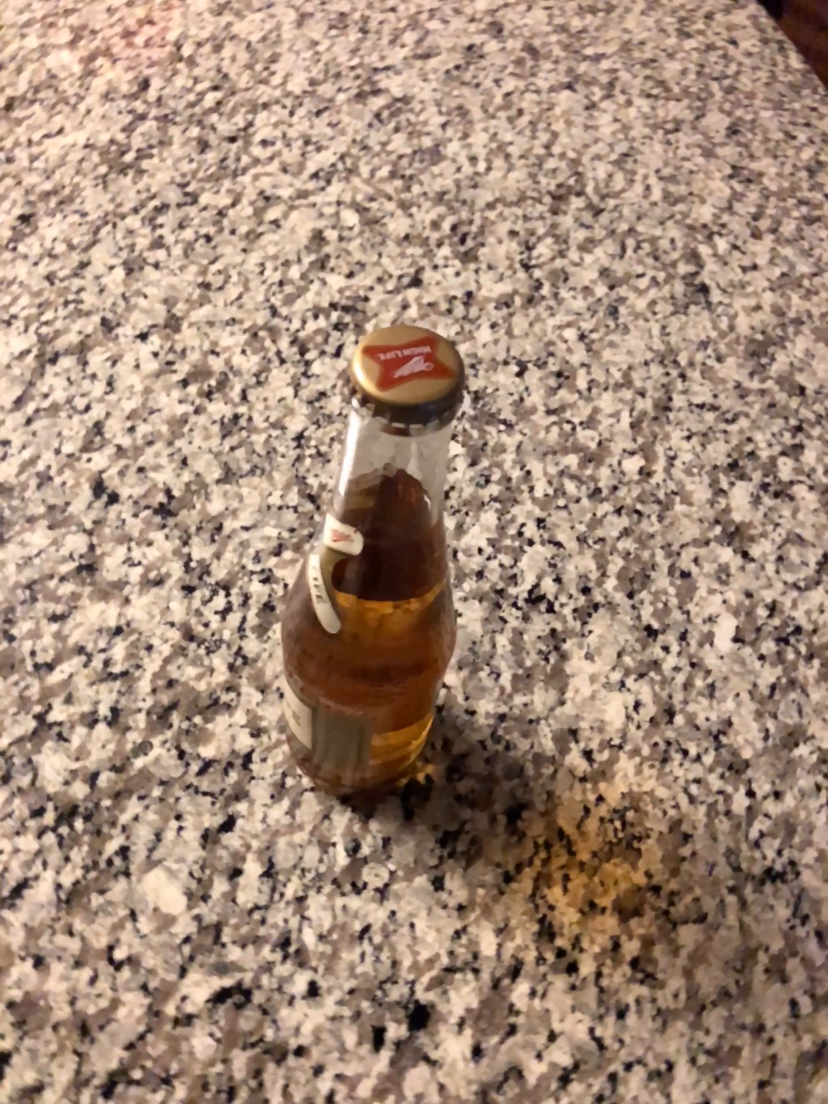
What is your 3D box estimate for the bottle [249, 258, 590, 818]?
[{"bbox_3d":[-0.008,0.020,0.300,0.070,0.229,0.060,5,57,-3],"label":"bottle"}]
